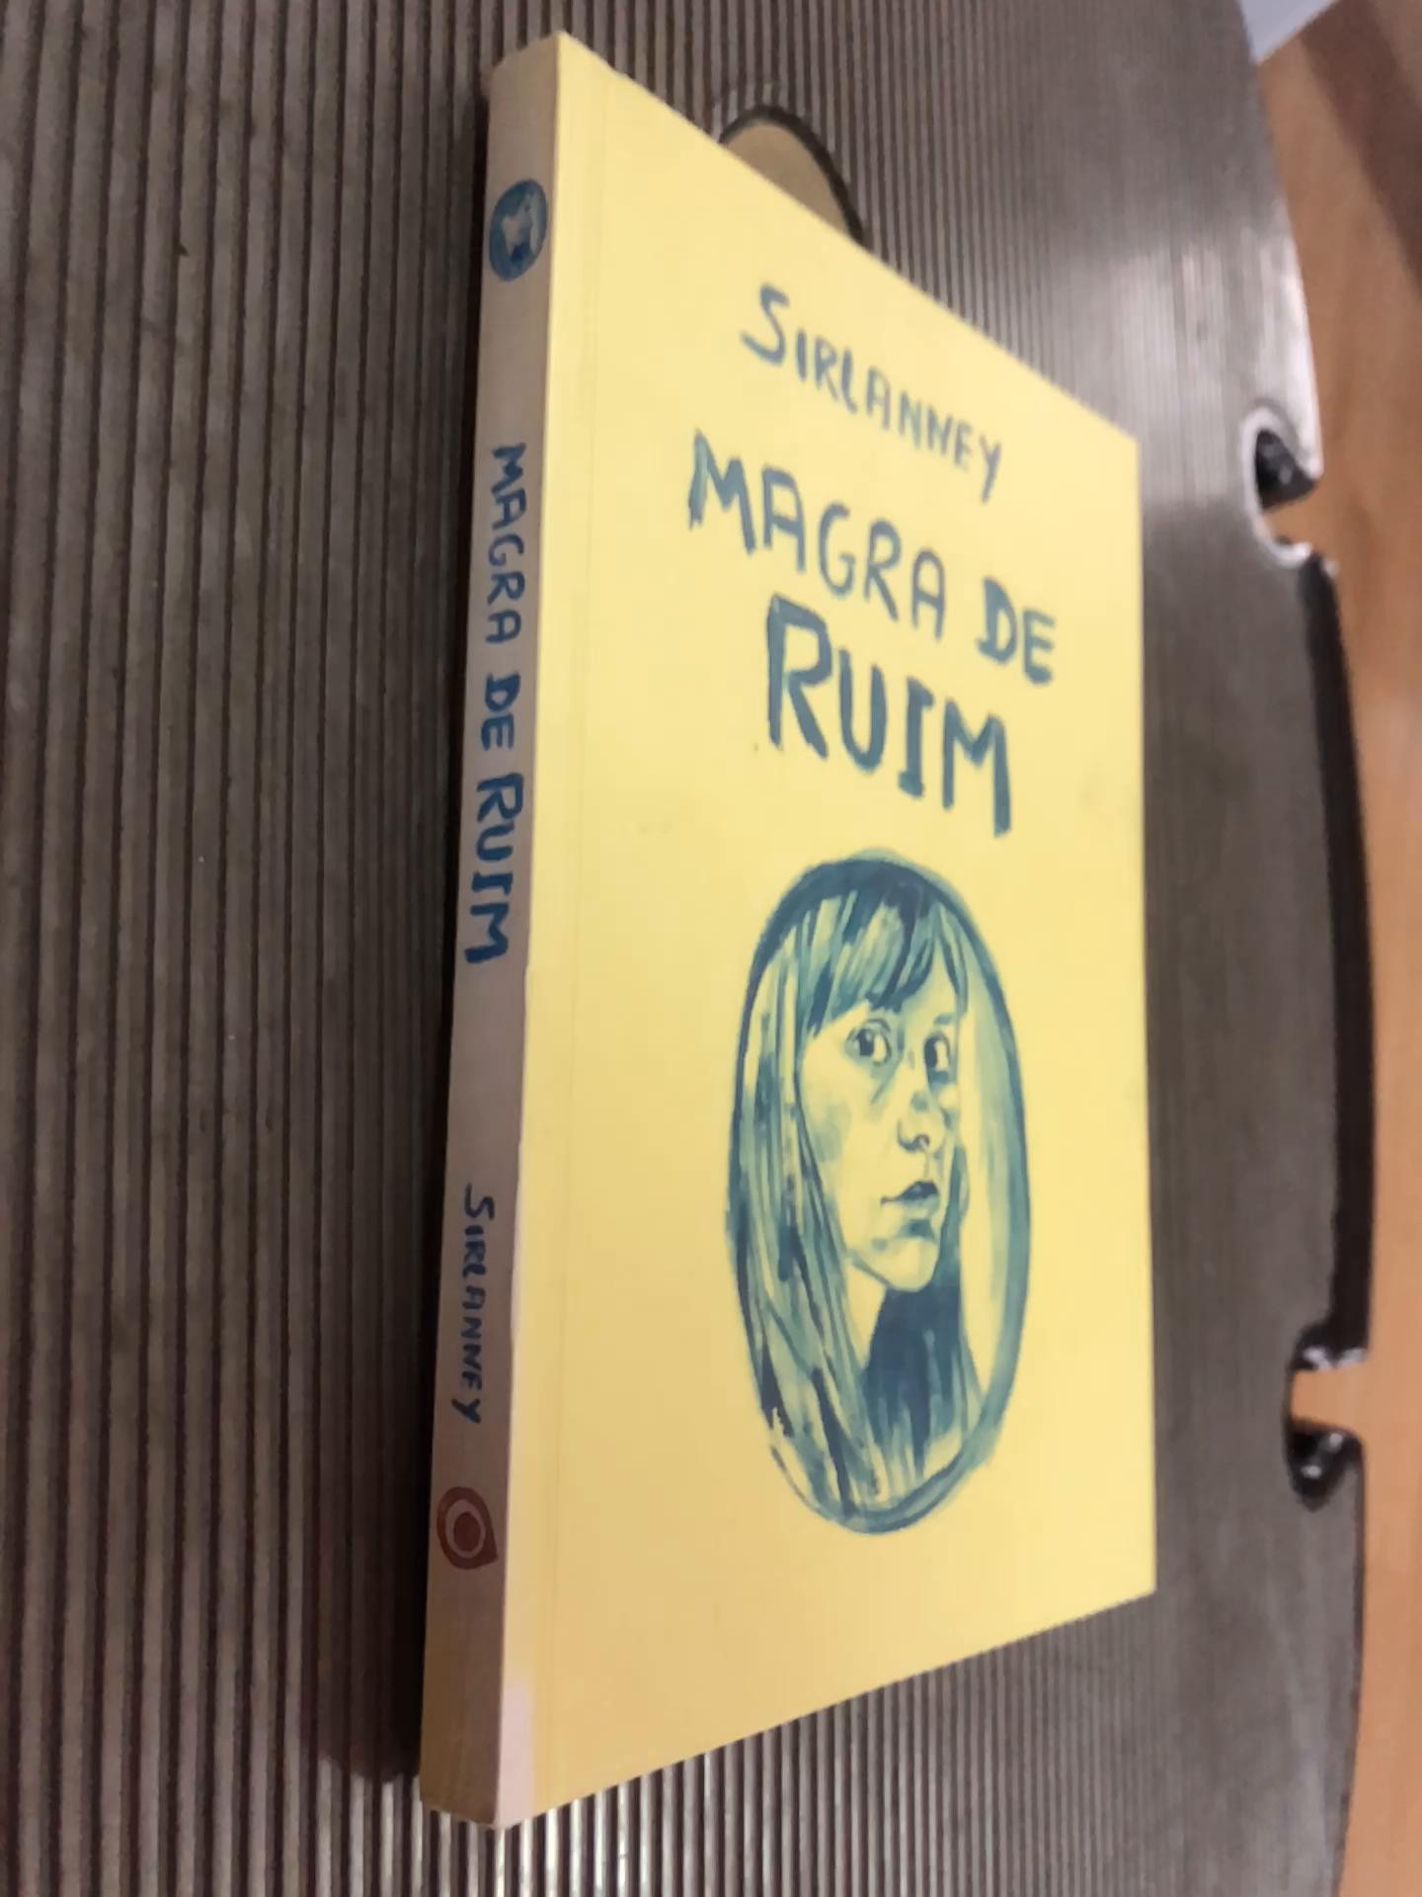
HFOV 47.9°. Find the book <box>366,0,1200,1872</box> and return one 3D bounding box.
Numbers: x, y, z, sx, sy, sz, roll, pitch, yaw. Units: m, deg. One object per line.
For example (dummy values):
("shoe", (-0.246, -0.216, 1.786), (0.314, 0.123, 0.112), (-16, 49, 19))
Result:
("book", (0.027, -0.004, 0.231), (0.151, 0.020, 0.210), (11, 78, -47))
